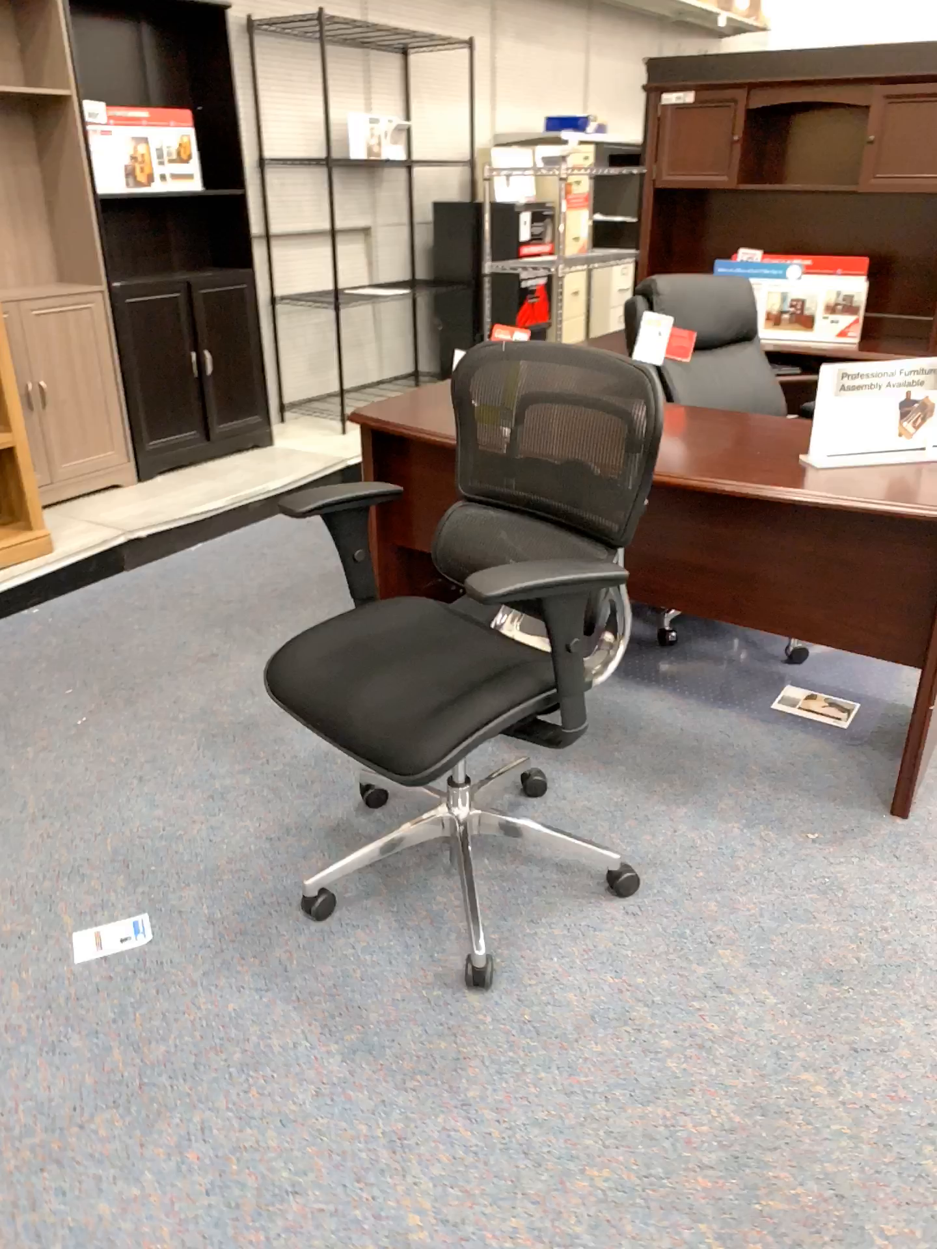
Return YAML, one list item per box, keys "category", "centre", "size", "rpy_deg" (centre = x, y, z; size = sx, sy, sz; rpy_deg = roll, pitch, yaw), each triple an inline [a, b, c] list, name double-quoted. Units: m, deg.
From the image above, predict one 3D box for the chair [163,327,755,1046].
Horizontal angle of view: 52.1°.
- category: "chair"
  centre: [-0.008, 0.026, 1.786]
  size: [0.699, 0.983, 0.686]
  rpy_deg: [21, 32, 38]
